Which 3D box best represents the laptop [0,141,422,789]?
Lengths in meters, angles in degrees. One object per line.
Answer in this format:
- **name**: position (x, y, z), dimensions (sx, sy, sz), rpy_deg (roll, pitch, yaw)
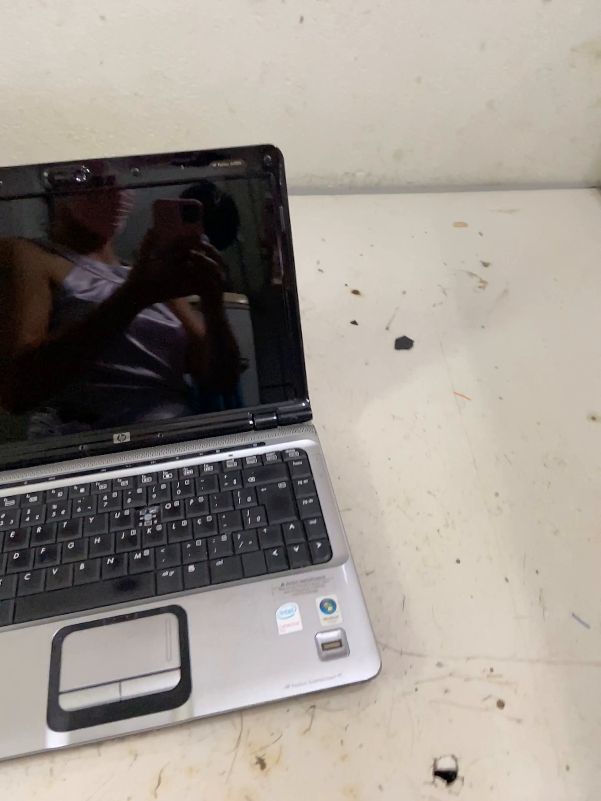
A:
- **laptop**: position (-0.141, 0.009, 0.413), dimensions (0.321, 0.193, 0.335), rpy_deg (-9, 47, -7)
